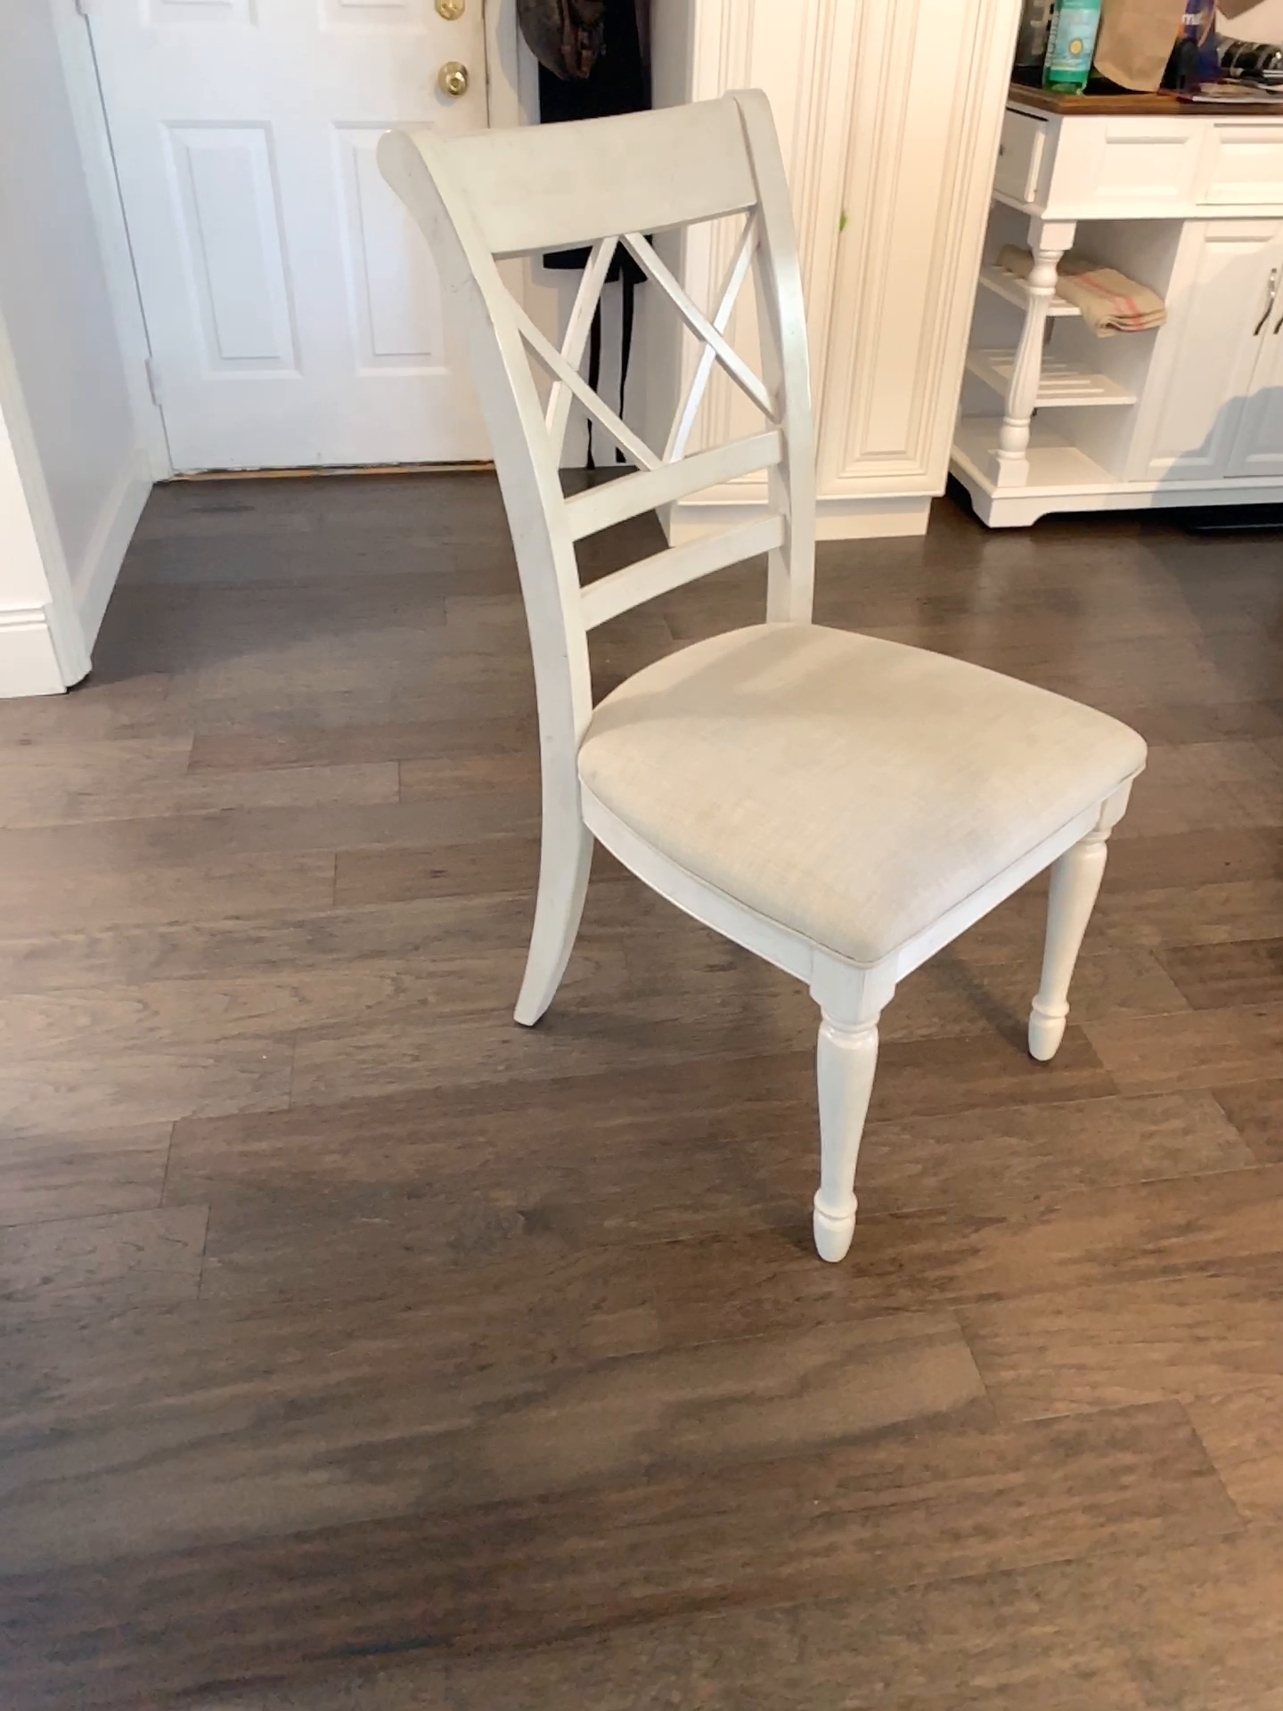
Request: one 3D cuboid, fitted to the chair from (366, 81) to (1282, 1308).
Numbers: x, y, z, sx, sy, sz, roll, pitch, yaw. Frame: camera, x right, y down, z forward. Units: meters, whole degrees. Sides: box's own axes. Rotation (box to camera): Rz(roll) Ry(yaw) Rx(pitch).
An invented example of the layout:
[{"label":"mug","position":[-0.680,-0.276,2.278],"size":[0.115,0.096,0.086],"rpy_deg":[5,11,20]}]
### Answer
[{"label":"chair","position":[0.180,-0.196,1.310],"size":[0.531,0.924,0.652],"rpy_deg":[-29,45,-35]}]
